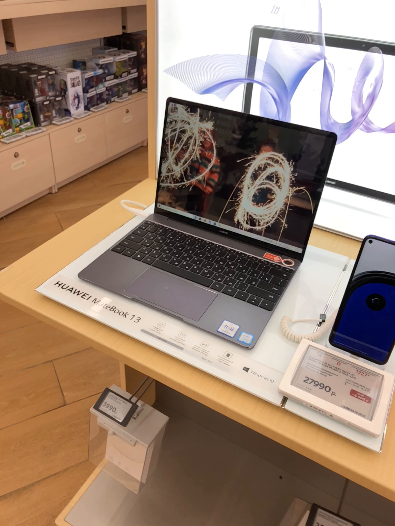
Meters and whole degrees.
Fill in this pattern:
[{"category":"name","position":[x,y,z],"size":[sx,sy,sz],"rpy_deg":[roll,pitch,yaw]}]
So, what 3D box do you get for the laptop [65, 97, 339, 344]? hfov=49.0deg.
[{"category":"laptop","position":[0.012,-0.083,0.628],"size":[0.274,0.192,0.245],"rpy_deg":[20,41,21]}]
